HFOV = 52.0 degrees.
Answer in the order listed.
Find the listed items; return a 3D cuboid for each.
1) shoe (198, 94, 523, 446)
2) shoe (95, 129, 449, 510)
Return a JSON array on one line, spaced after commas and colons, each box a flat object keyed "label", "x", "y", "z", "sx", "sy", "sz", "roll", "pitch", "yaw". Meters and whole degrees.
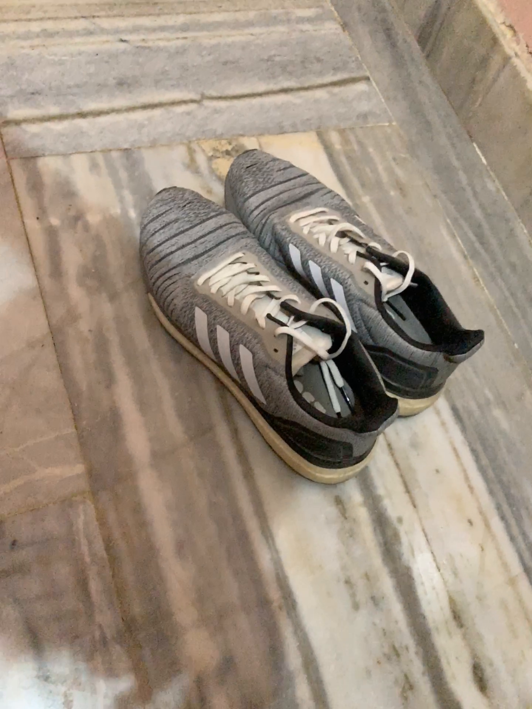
[{"label": "shoe", "x": 0.074, "y": -0.083, "z": 0.501, "sx": 0.110, "sy": 0.080, "sz": 0.310, "roll": -31, "pitch": 78, "yaw": -25}, {"label": "shoe", "x": -0.006, "y": -0.033, "z": 0.465, "sx": 0.120, "sy": 0.090, "sz": 0.300, "roll": -35, "pitch": 80, "yaw": -26}]
